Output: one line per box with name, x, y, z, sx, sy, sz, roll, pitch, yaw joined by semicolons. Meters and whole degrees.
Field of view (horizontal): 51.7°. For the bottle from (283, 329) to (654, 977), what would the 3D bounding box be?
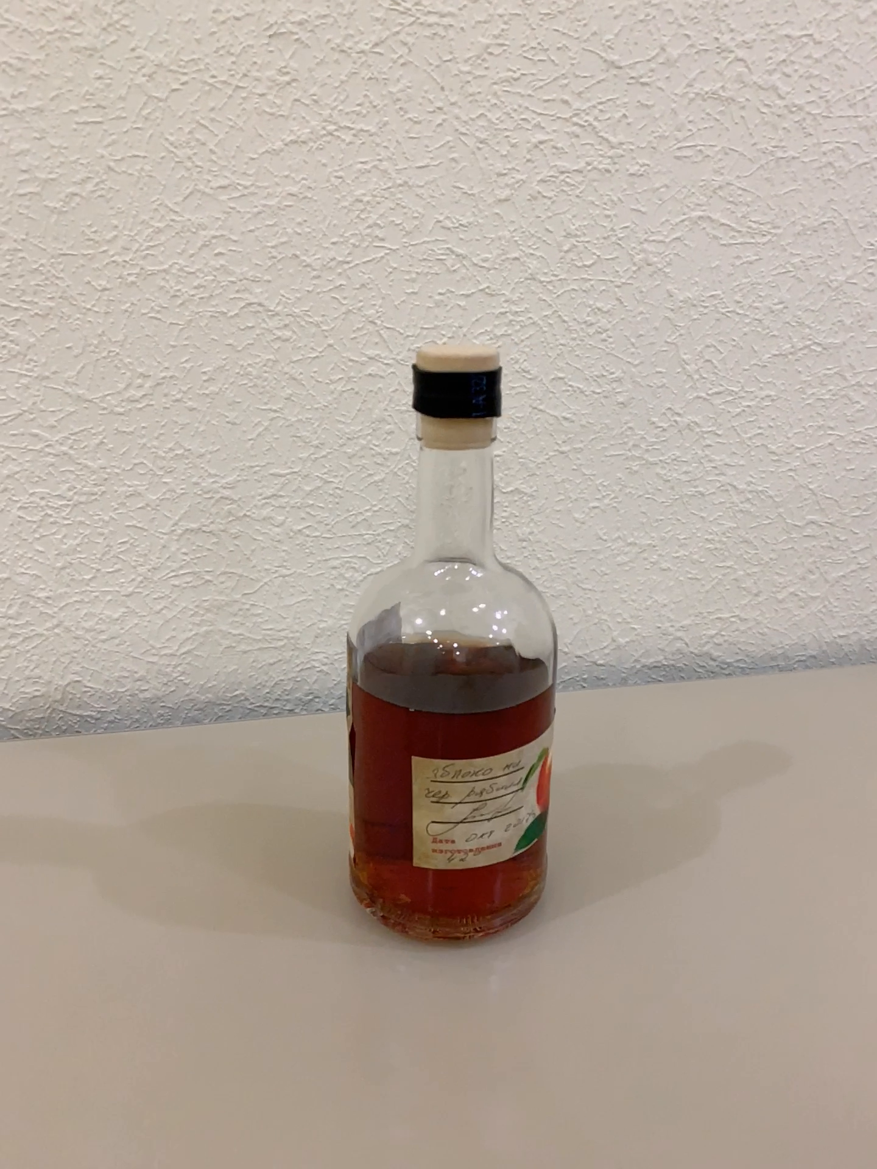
bottle;0.007;0.016;0.326;0.090;0.201;0.080;-13;23;-34
